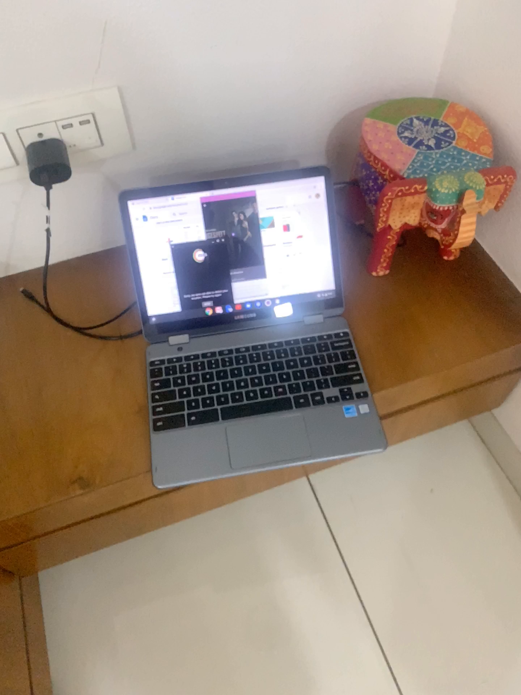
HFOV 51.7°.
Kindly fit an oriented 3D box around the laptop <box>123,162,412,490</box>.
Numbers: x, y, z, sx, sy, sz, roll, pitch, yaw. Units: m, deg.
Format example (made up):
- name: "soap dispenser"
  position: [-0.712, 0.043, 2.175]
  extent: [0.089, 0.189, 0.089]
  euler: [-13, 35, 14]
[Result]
- name: "laptop"
  position: [-0.015, -0.043, 0.757]
  extent: [0.314, 0.164, 0.384]
  euler: [-9, 58, -3]
